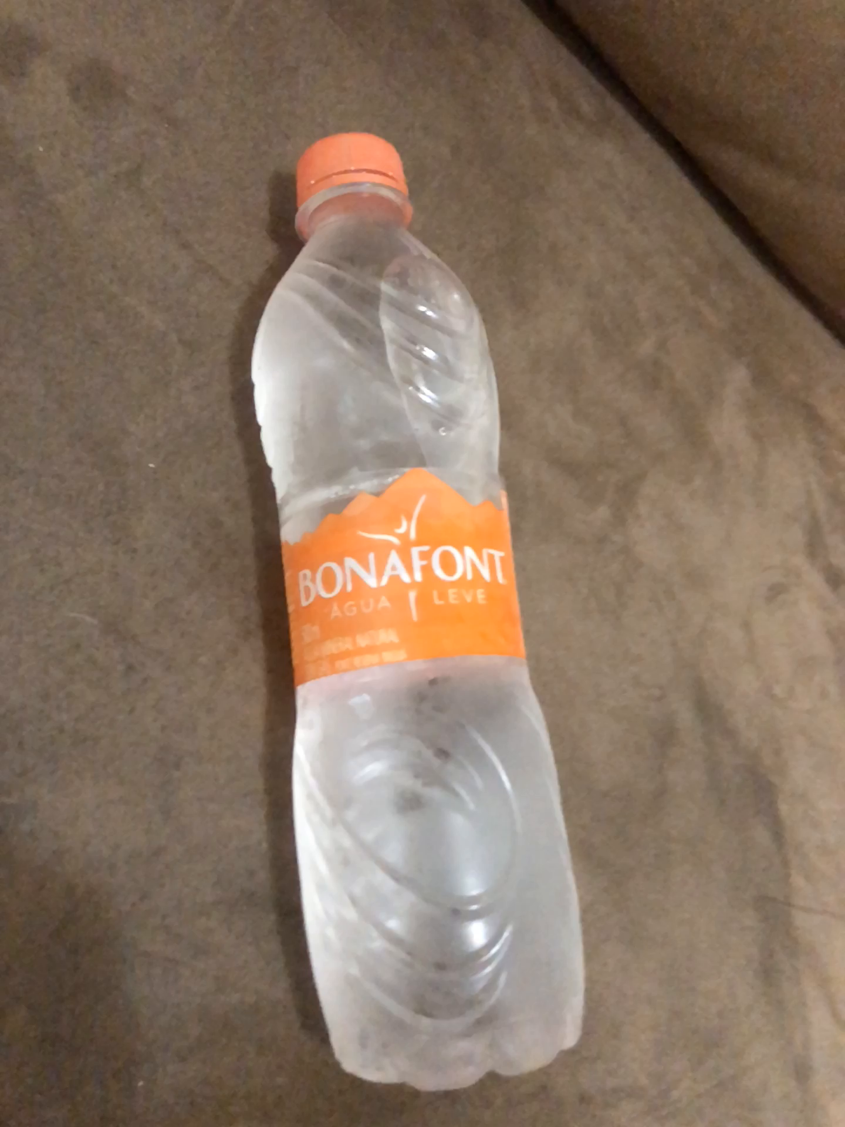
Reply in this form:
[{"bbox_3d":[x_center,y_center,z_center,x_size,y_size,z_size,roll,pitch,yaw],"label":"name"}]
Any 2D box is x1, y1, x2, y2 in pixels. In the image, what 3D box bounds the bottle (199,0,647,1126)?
[{"bbox_3d":[-0.005,-0.008,0.233,0.070,0.050,0.240,5,73,-41],"label":"bottle"}]
